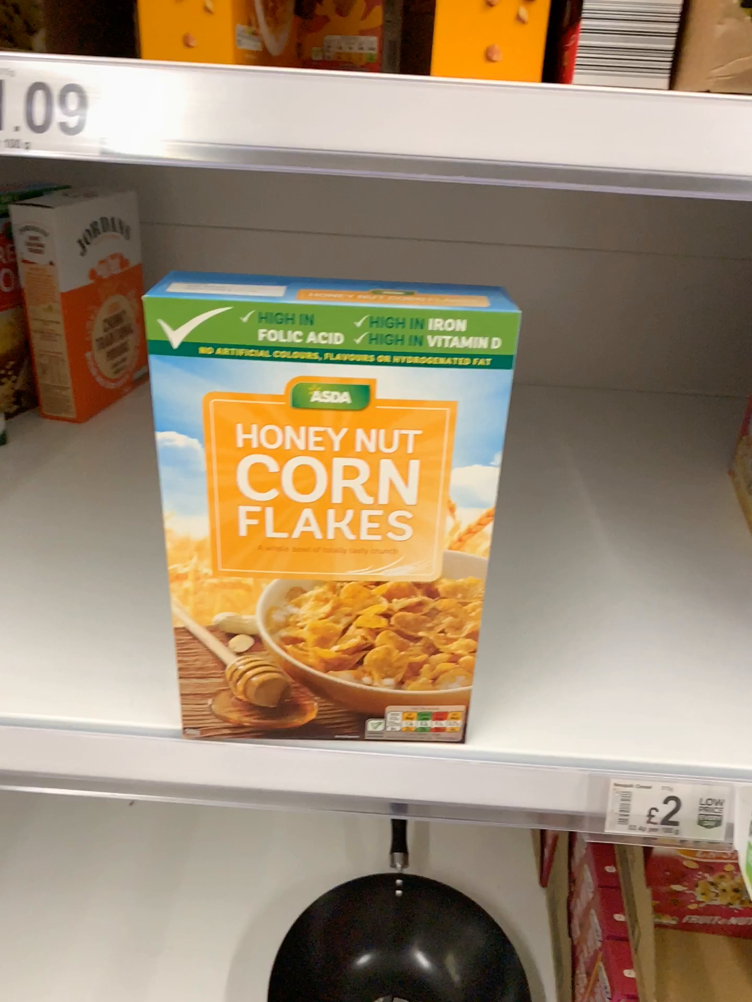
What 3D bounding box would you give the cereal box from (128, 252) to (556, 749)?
[{"bbox_3d":[-0.023,0.012,0.460,0.200,0.288,0.071,2,28,-2],"label":"cereal box"}]
